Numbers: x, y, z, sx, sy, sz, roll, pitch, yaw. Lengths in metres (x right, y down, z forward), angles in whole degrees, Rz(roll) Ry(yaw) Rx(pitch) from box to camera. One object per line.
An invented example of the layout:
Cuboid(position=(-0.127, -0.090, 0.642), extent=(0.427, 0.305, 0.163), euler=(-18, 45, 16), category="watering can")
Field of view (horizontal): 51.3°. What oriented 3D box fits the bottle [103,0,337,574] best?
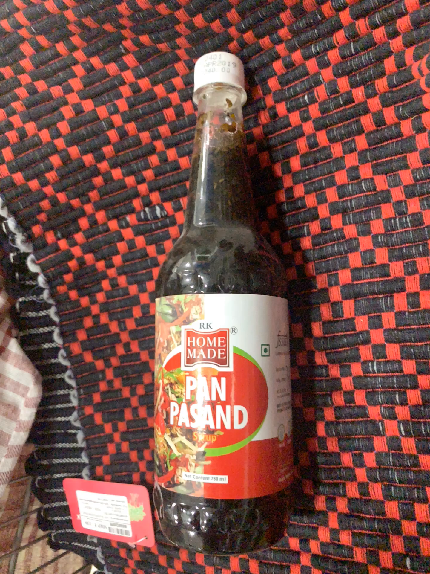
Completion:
Cuboid(position=(0.012, -0.011, 0.260), extent=(0.090, 0.080, 0.280), euler=(-5, 75, 34), category="bottle")
